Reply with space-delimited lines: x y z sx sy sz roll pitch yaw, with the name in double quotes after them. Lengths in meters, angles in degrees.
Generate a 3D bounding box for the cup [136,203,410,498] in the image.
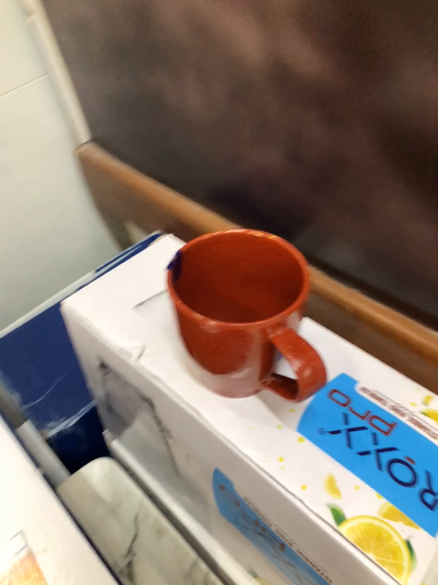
0.019 0.020 0.229 0.070 0.070 0.100 -23 45 -22 "cup"
